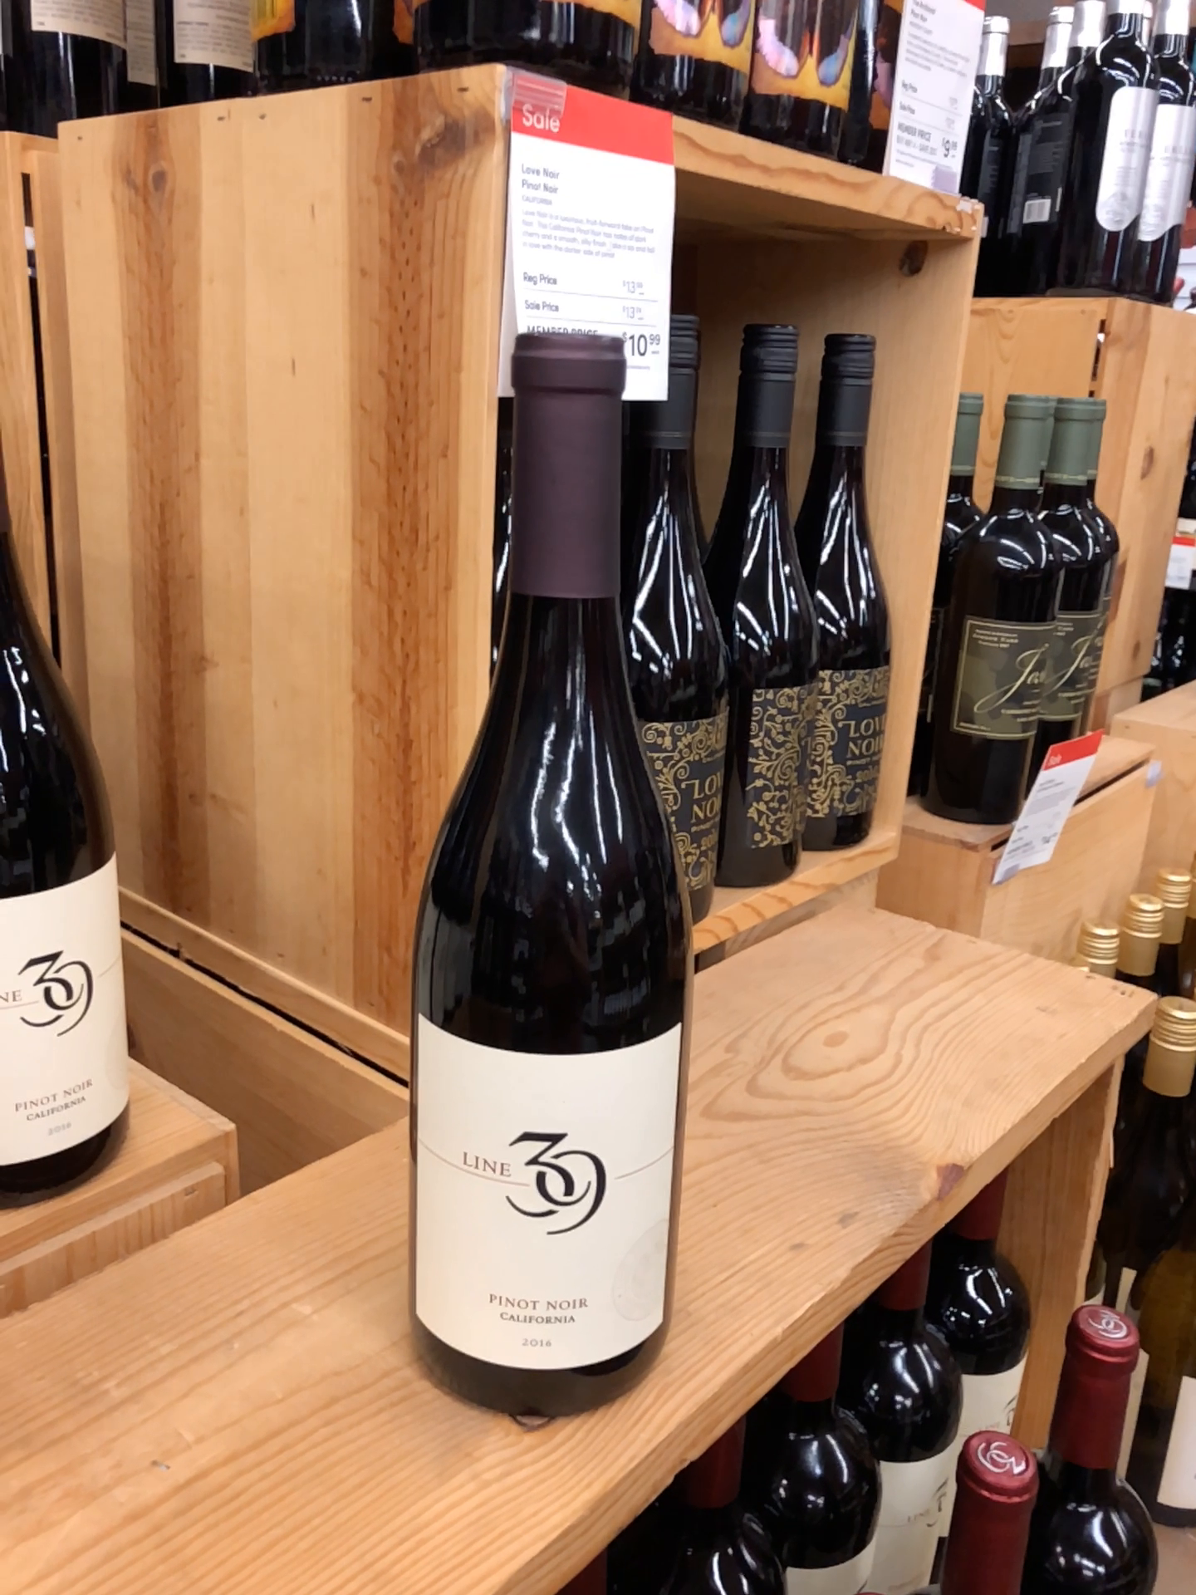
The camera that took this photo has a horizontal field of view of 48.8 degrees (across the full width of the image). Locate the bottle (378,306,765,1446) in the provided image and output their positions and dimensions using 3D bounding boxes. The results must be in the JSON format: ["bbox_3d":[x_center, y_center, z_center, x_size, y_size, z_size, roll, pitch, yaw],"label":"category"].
[{"bbox_3d":[-0.011,0.024,0.352,0.080,0.283,0.080,3,17,-1],"label":"bottle"}]
